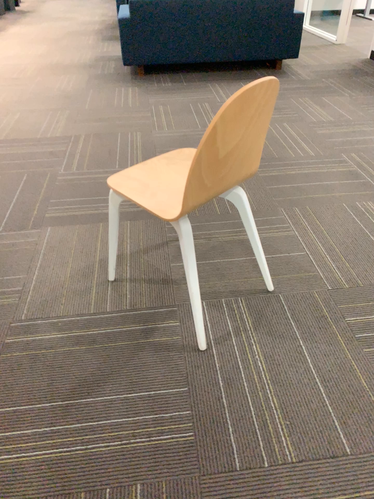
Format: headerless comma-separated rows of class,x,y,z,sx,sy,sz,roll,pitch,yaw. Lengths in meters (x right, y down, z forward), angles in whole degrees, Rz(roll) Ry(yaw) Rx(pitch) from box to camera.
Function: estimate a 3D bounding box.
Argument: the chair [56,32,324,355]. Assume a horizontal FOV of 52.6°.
chair,0.001,-0.204,1.280,0.461,0.825,0.572,-32,47,-33
